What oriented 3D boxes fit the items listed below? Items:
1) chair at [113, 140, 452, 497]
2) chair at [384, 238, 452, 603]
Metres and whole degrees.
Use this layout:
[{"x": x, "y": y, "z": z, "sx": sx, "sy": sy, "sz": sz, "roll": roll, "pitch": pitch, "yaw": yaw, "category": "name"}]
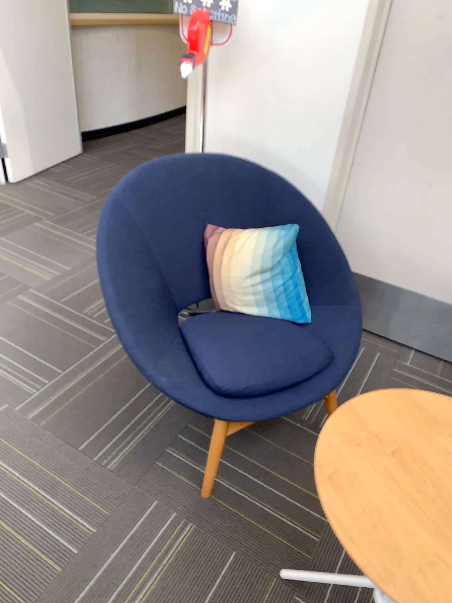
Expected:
[{"x": 0.089, "y": -0.024, "z": 1.639, "sx": 0.790, "sy": 0.835, "sz": 0.845, "roll": -9, "pitch": 37, "yaw": -20, "category": "chair"}, {"x": 1.223, "y": 0.476, "z": 1.260, "sx": 0.980, "sy": 0.944, "sz": 0.835, "roll": -7, "pitch": 37, "yaw": -18, "category": "chair"}]
